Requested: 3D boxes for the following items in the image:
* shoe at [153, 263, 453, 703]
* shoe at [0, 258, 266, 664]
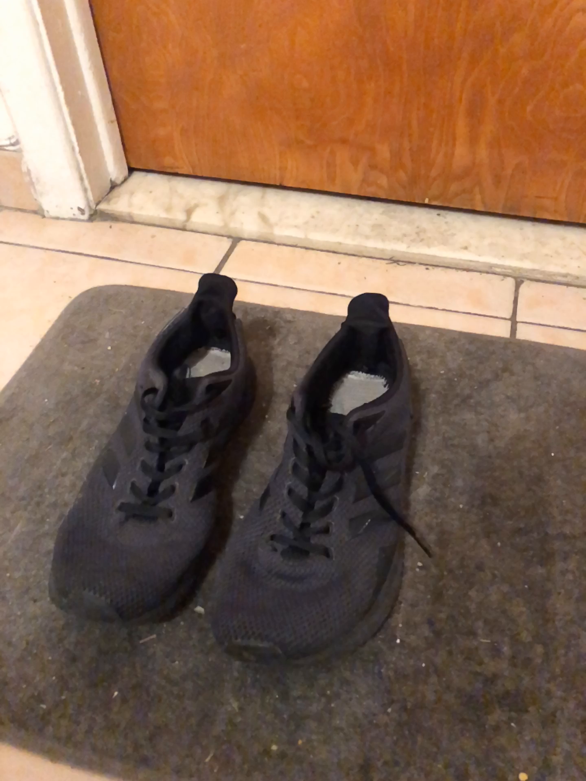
[{"bbox_3d":[0.025,0.044,0.441,0.110,0.119,0.262,12,48,15],"label":"shoe"},{"bbox_3d":[-0.105,0.035,0.471,0.110,0.119,0.262,10,47,7],"label":"shoe"}]
